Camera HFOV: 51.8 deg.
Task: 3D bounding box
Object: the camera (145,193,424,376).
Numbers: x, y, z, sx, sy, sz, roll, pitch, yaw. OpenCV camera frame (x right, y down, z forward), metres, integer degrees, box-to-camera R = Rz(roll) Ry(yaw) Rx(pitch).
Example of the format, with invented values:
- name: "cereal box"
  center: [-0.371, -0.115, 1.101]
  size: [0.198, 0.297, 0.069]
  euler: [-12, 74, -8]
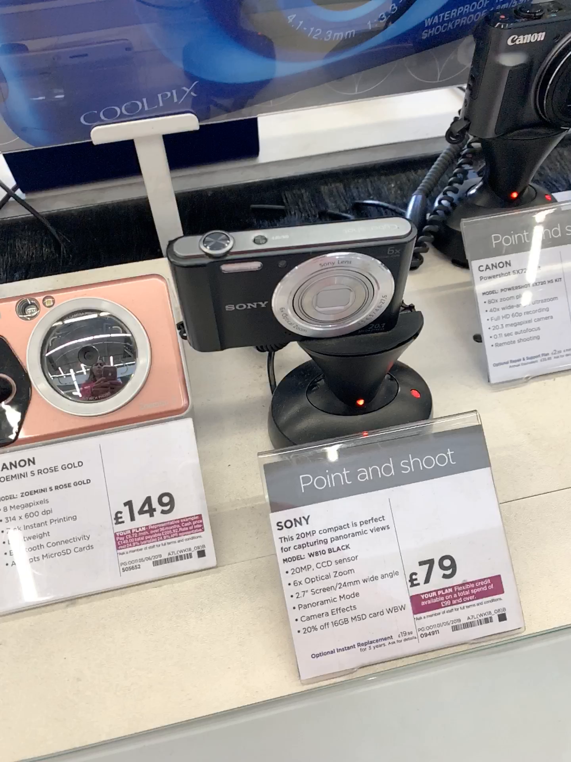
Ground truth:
- name: "camera"
  center: [-0.001, -0.038, 0.242]
  size: [0.100, 0.060, 0.030]
  euler: [-7, 53, -4]
